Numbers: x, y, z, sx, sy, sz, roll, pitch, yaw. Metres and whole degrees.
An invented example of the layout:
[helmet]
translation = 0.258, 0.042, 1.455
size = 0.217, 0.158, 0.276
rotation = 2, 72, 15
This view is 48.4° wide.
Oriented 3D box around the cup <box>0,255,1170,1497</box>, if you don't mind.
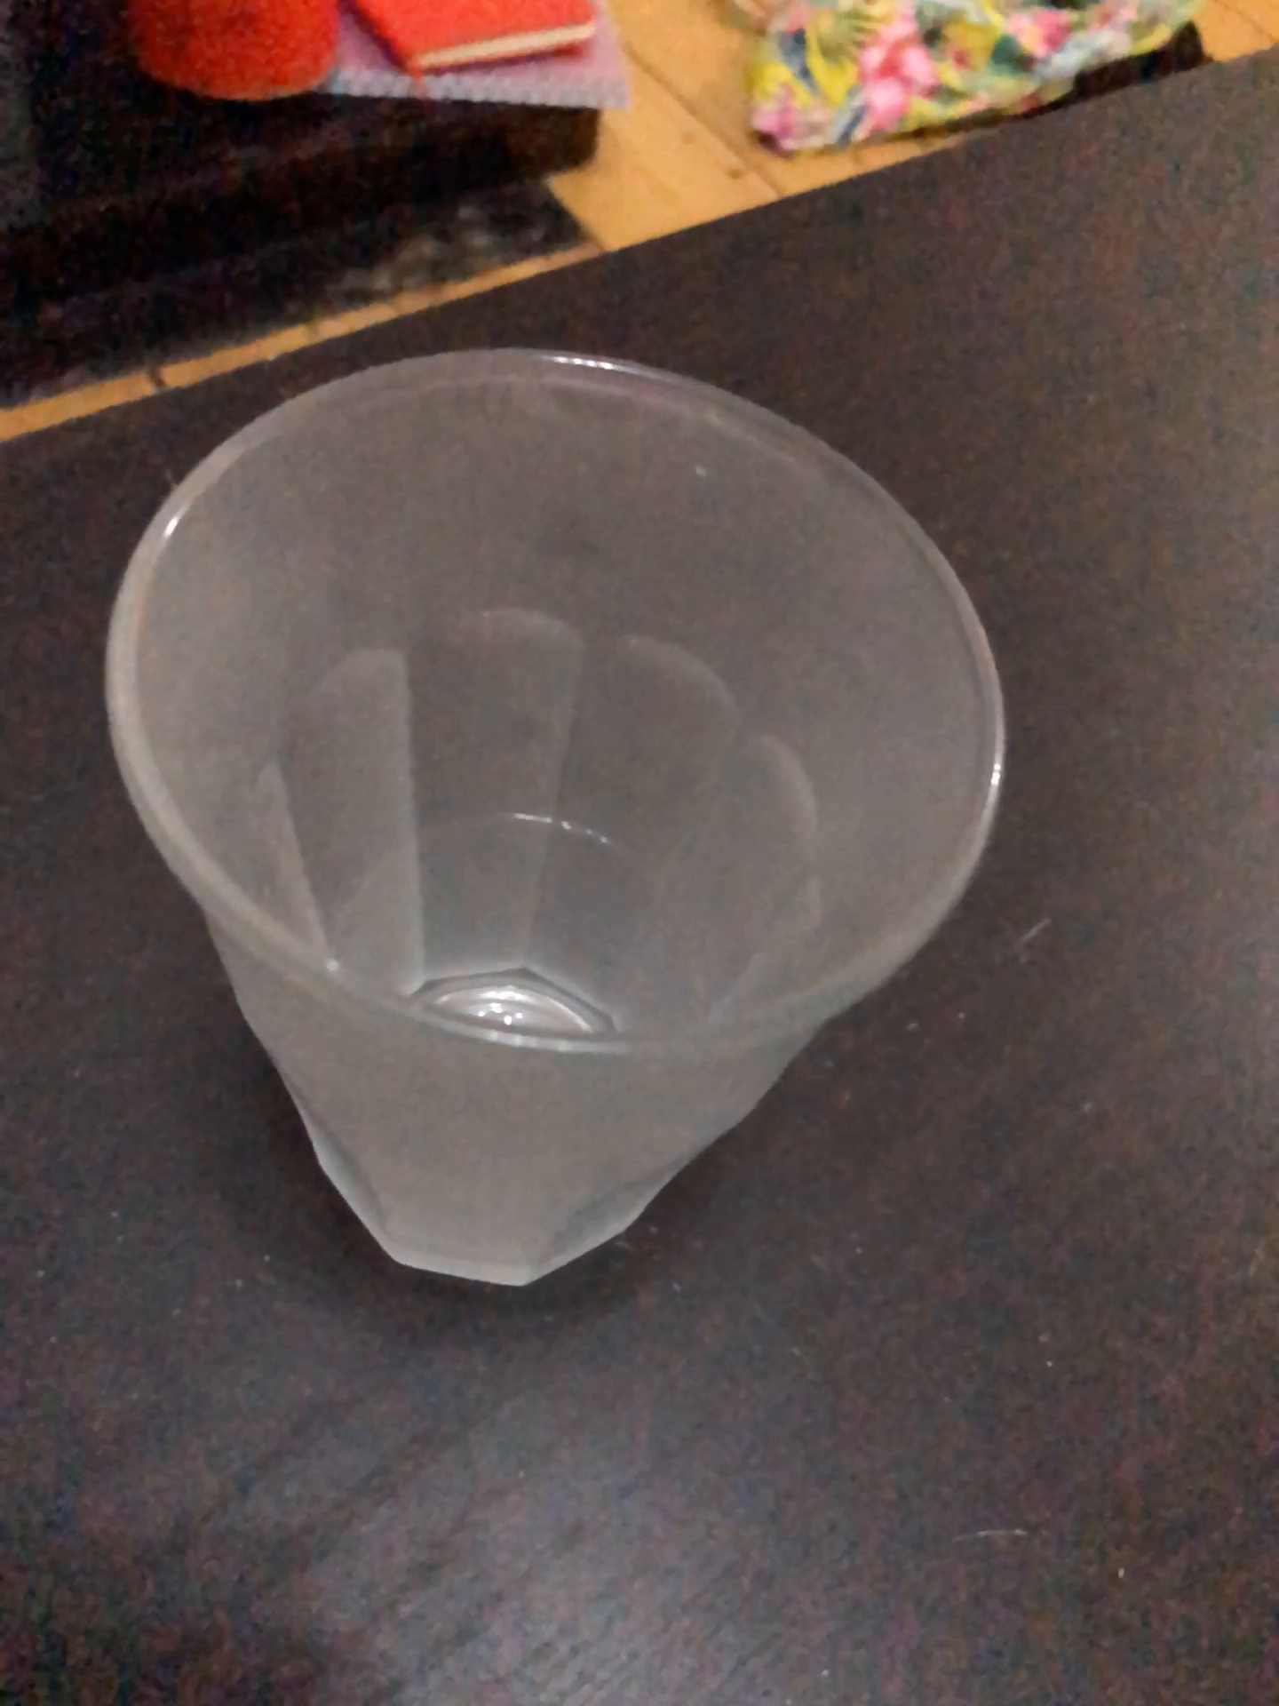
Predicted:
[cup]
translation = -0.009, 0.016, 0.189
size = 0.100, 0.129, 0.090
rotation = 14, 56, -2
